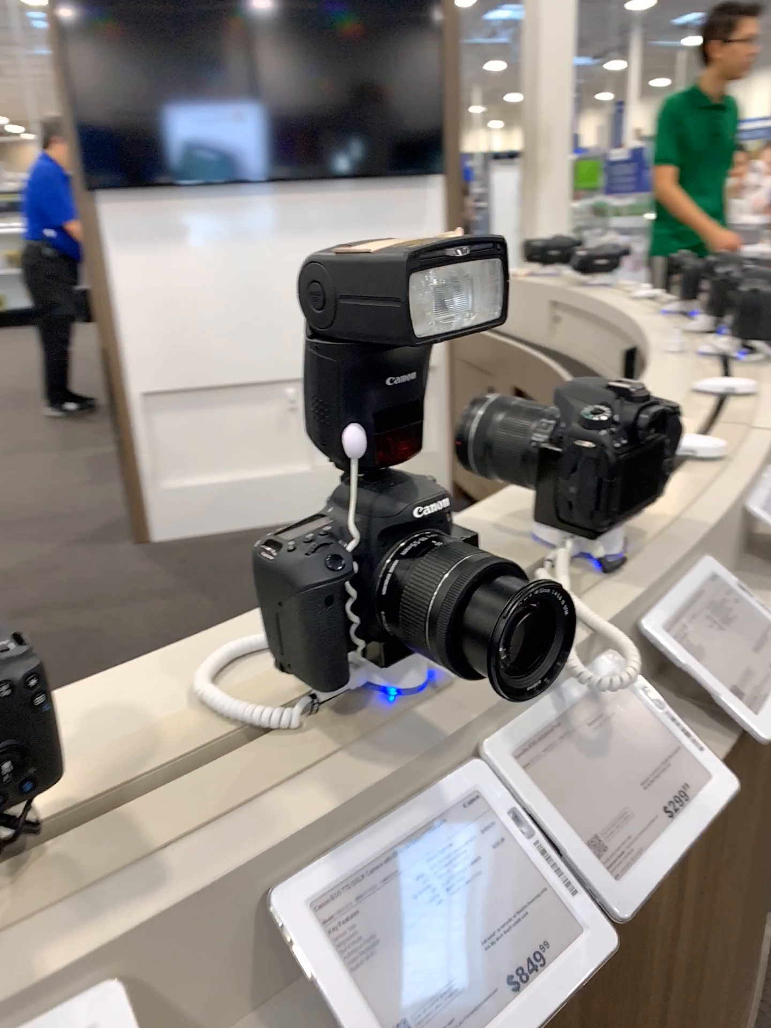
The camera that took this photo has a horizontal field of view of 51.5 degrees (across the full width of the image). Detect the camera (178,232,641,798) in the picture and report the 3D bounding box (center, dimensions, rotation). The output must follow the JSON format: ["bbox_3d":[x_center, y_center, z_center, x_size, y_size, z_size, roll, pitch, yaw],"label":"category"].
[{"bbox_3d":[0.010,-0.022,0.424,0.140,0.232,0.177,-19,27,-36],"label":"camera"}]

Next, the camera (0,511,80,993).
[{"bbox_3d":[-0.252,0.087,0.375,0.140,0.103,0.166,-19,27,-35],"label":"camera"}]

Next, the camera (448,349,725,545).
[{"bbox_3d":[0.161,-0.065,0.659,0.140,0.103,0.166,-22,28,-39],"label":"camera"}]
